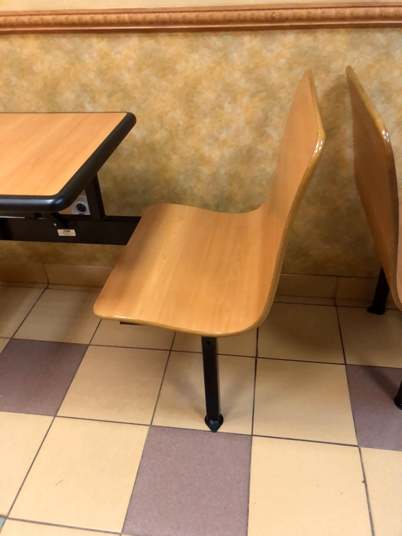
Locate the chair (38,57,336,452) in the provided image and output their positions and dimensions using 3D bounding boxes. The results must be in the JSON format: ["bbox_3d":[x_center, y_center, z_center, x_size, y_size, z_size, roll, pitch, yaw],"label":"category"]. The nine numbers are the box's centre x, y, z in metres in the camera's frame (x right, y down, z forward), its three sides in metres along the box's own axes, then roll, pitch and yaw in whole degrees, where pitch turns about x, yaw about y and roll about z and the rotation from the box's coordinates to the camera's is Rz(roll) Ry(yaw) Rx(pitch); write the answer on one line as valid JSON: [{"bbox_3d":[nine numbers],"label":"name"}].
[{"bbox_3d":[0.028,-0.053,1.245,0.510,0.884,0.634,4,35,9],"label":"chair"}]
